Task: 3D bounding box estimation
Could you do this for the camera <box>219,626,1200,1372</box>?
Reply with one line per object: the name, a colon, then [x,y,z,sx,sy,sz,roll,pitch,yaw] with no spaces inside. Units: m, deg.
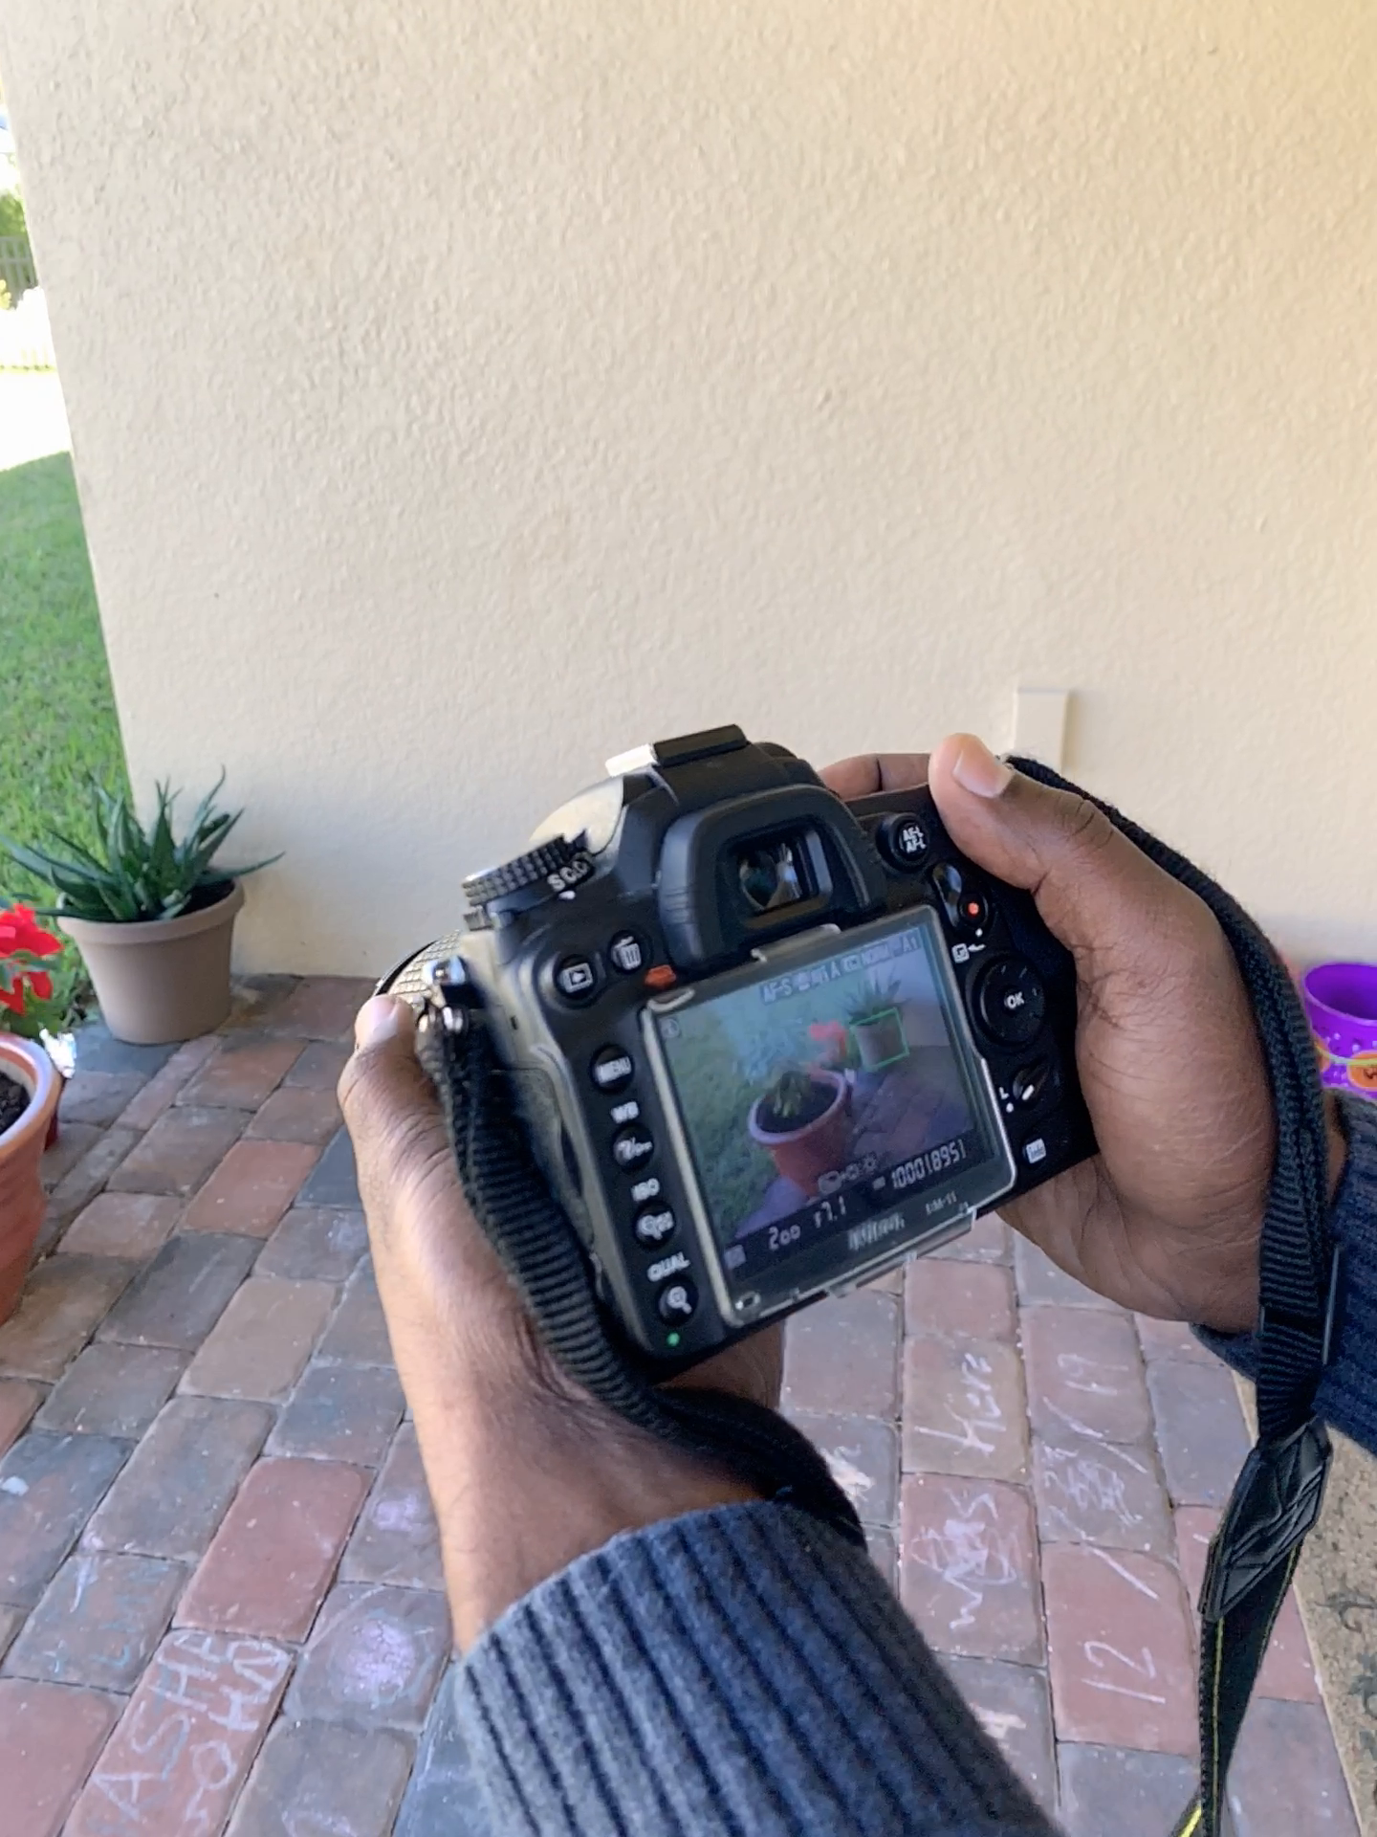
camera: [-0.012,0.015,0.342,0.130,0.100,0.199,-18,4,-31]
